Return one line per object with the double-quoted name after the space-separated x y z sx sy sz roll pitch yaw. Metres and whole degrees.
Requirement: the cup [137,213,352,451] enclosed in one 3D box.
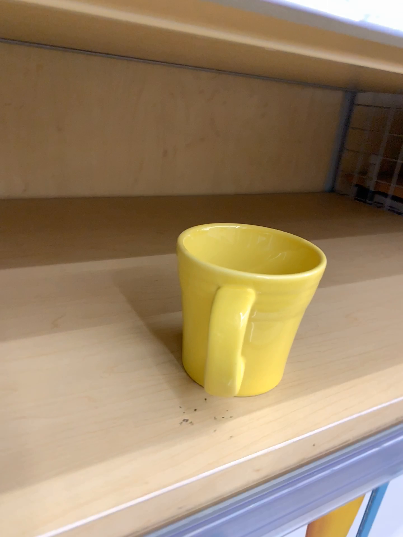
0.028 0.029 0.286 0.103 0.088 0.140 9 22 6 "cup"
